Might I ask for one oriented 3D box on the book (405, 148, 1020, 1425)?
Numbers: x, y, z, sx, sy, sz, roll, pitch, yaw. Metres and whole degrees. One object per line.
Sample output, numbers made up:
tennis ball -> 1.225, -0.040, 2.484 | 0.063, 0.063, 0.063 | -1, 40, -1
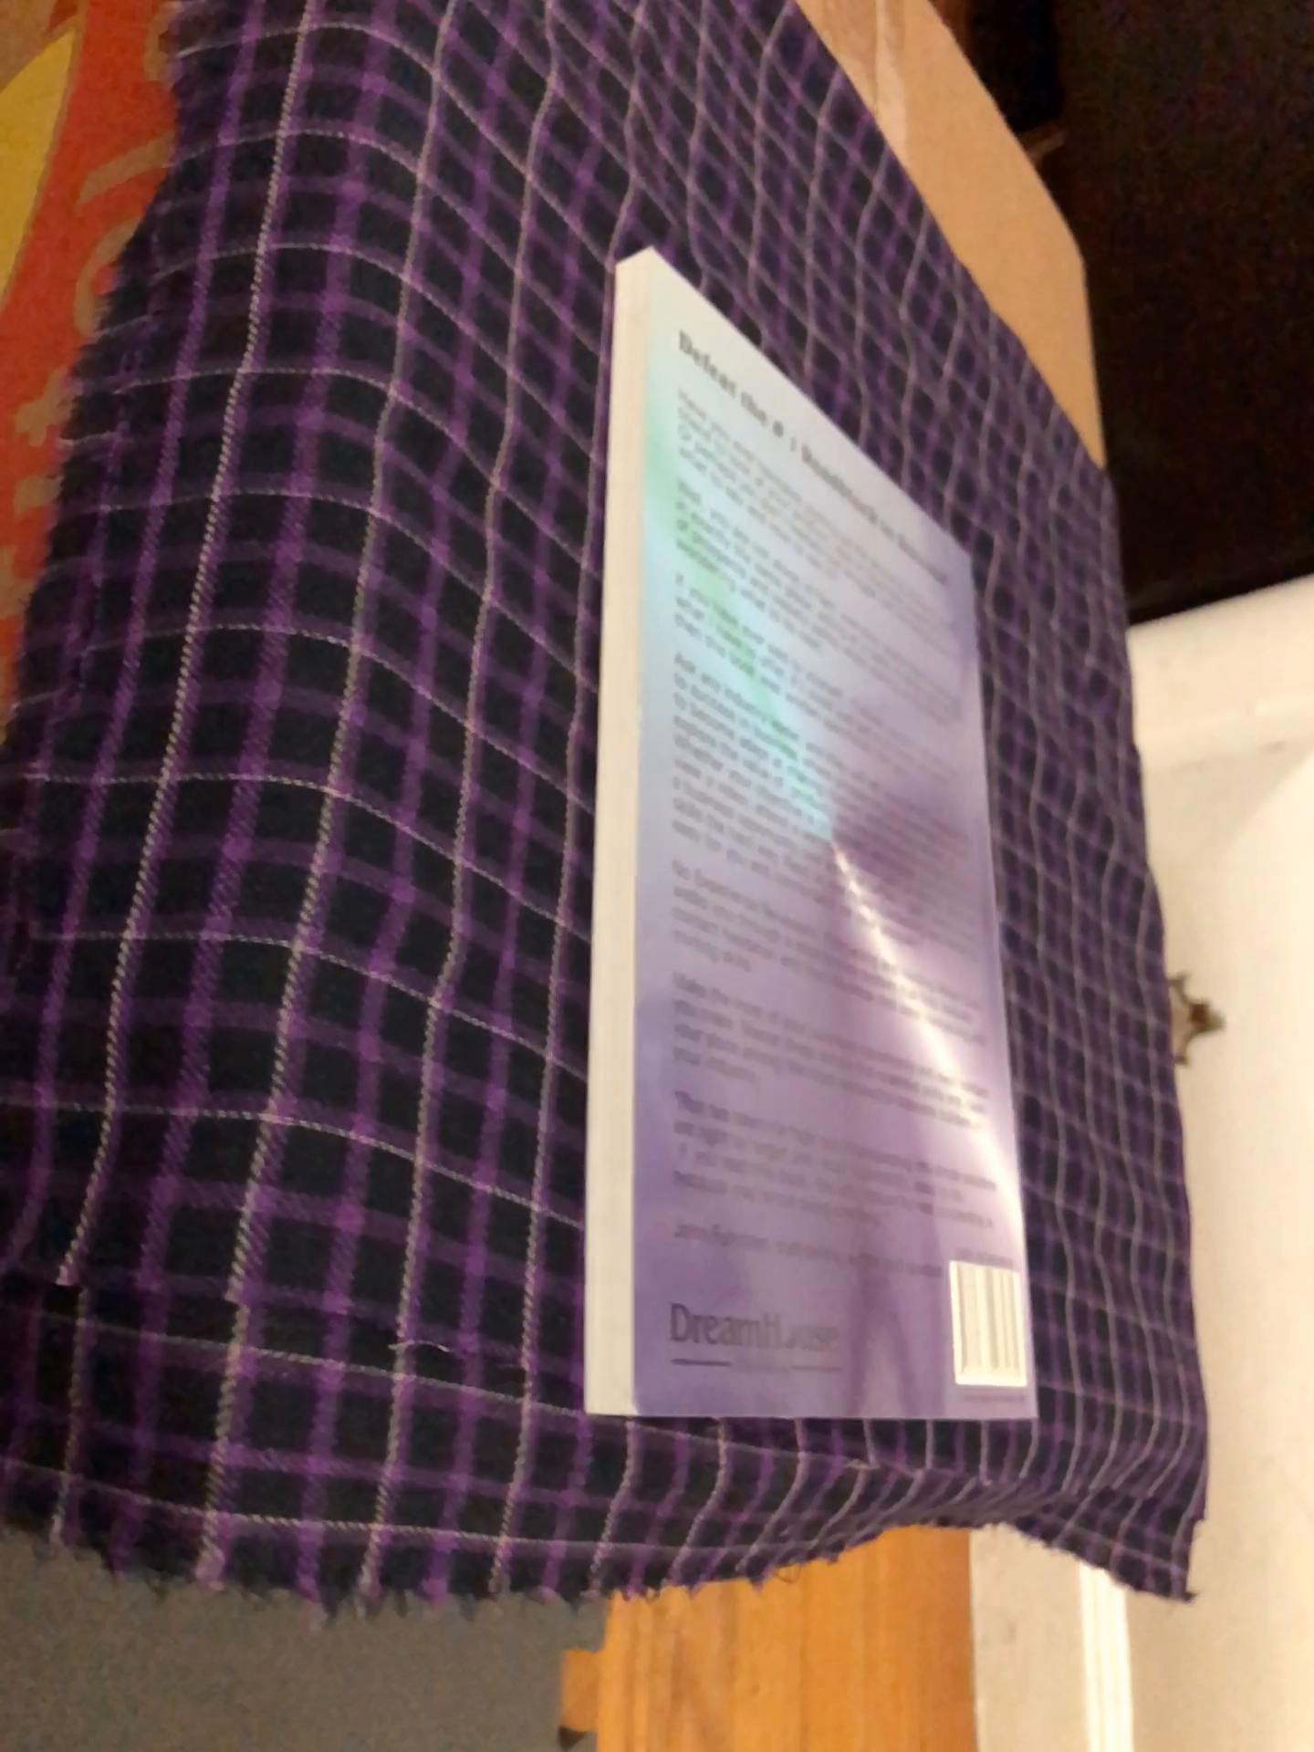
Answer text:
book -> 0.023, -0.007, 0.300 | 0.161, 0.020, 0.220 | 24, 60, -48
